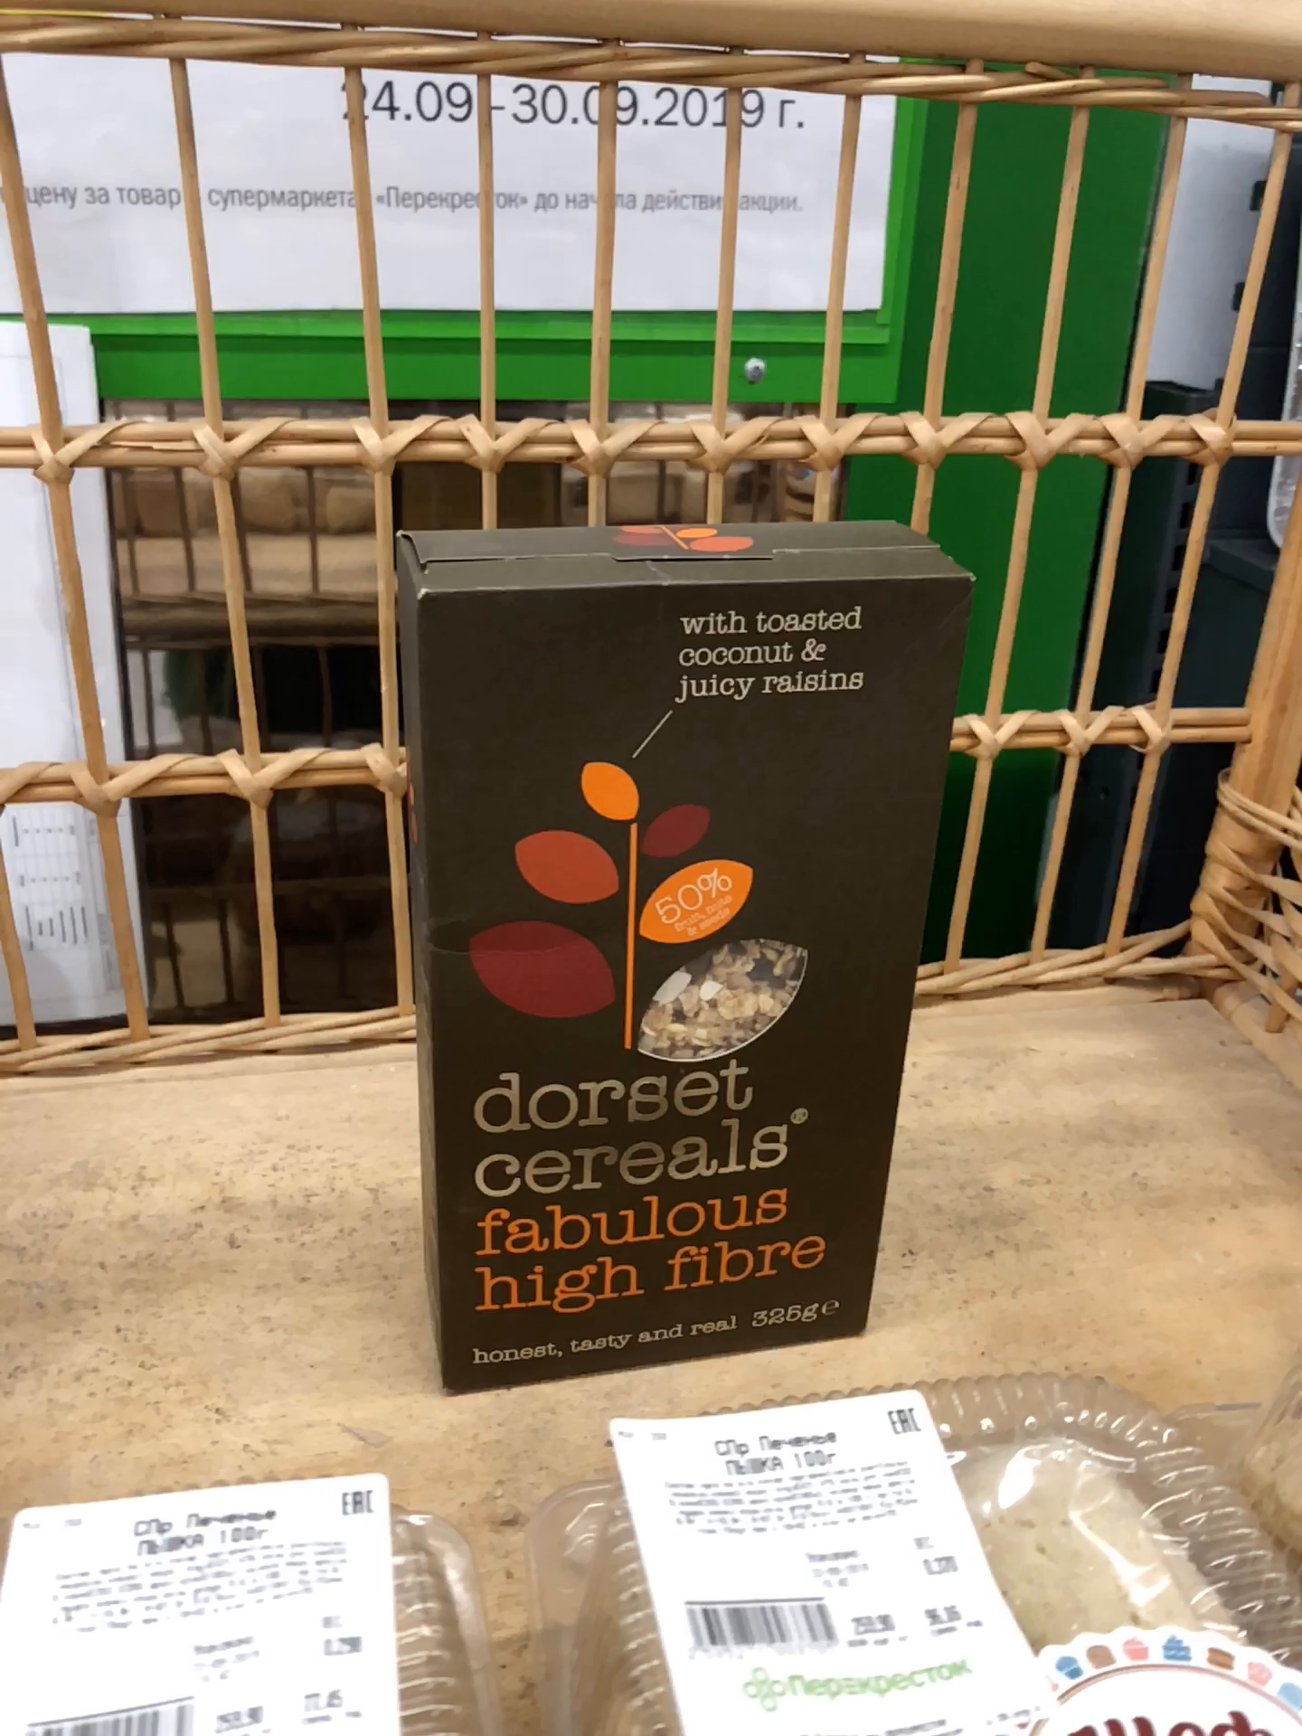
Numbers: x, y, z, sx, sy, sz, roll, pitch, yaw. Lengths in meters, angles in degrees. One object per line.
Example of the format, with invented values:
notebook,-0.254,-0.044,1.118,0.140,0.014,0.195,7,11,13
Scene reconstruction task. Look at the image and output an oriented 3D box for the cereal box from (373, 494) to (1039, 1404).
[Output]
cereal box,0.006,0.022,0.345,0.130,0.209,0.050,-4,26,-12
